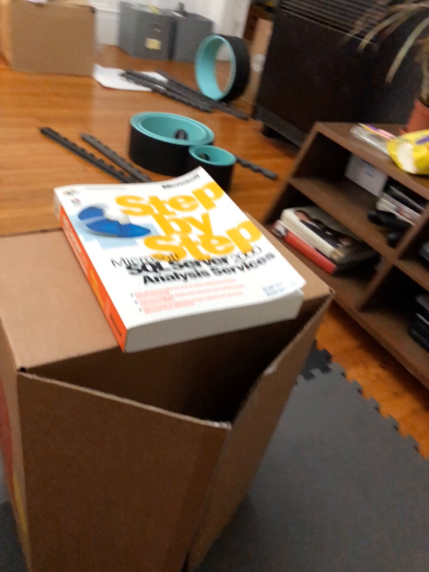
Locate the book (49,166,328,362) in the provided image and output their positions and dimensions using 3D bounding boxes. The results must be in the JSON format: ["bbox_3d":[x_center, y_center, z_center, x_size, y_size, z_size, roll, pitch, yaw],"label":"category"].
[{"bbox_3d":[-0.037,-0.046,0.497,0.201,0.050,0.241,-9,44,-33],"label":"book"}]
